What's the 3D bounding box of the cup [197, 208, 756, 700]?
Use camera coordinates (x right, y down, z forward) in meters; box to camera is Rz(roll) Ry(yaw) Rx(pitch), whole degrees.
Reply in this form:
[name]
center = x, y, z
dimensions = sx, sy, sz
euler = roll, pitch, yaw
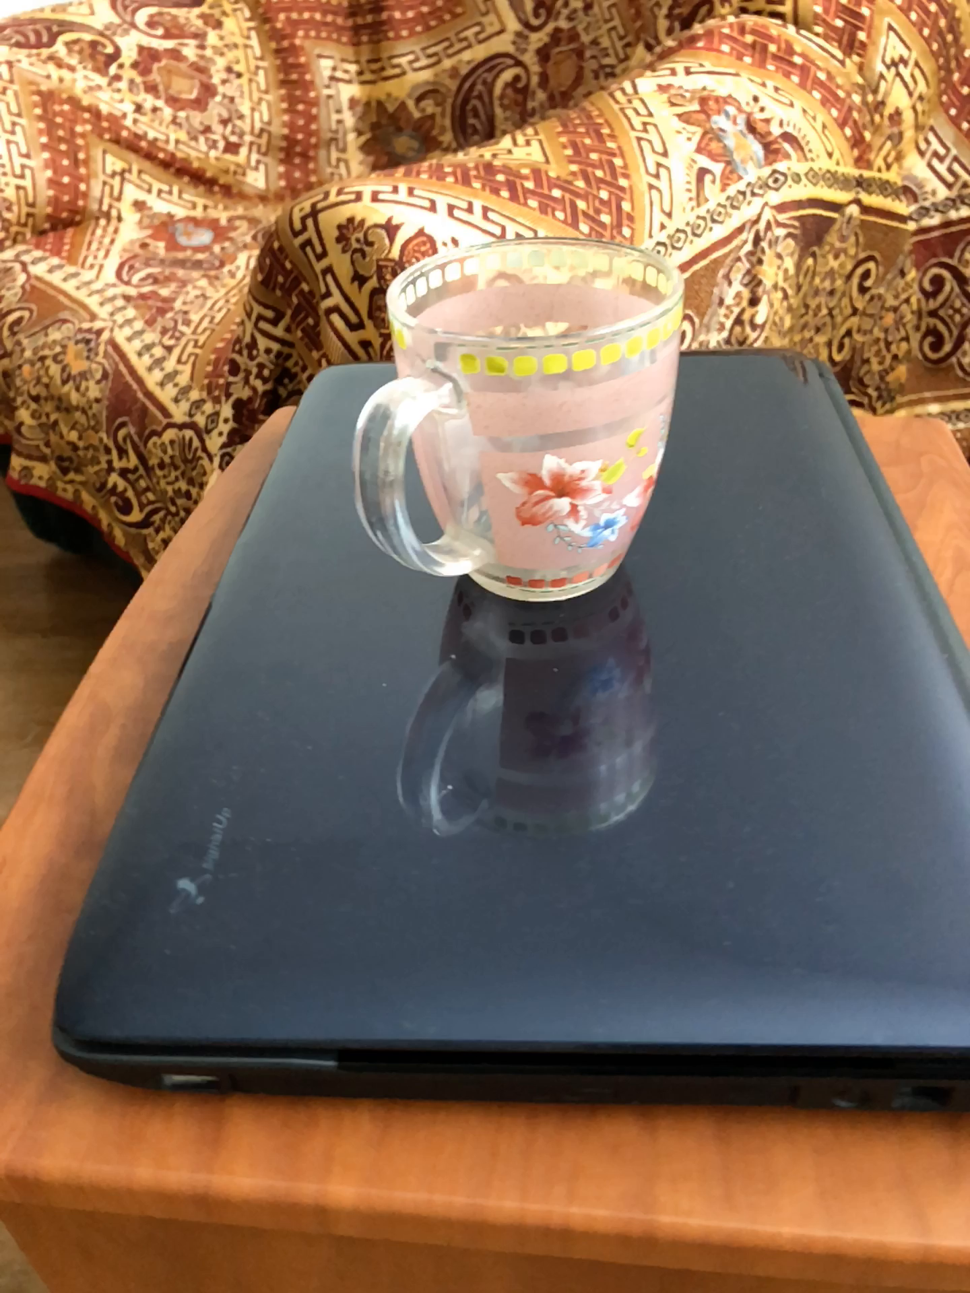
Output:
[cup]
center = 0.003, -0.067, 0.322
dimensions = 0.095, 0.081, 0.131
euler = 25, 45, 31
